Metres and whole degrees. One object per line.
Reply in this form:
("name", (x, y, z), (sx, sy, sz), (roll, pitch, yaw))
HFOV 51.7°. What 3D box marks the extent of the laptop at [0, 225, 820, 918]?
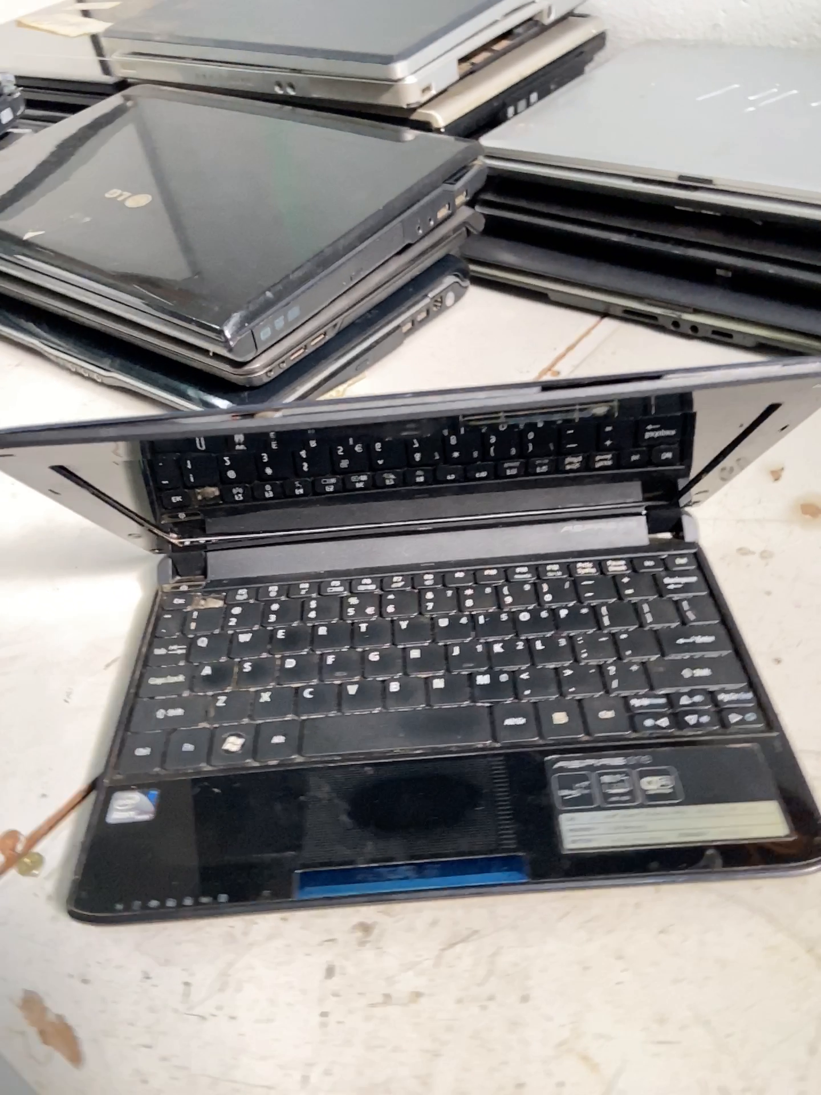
("laptop", (0.002, 0.000, 0.288), (0.244, 0.131, 0.172), (-5, 41, 2))
